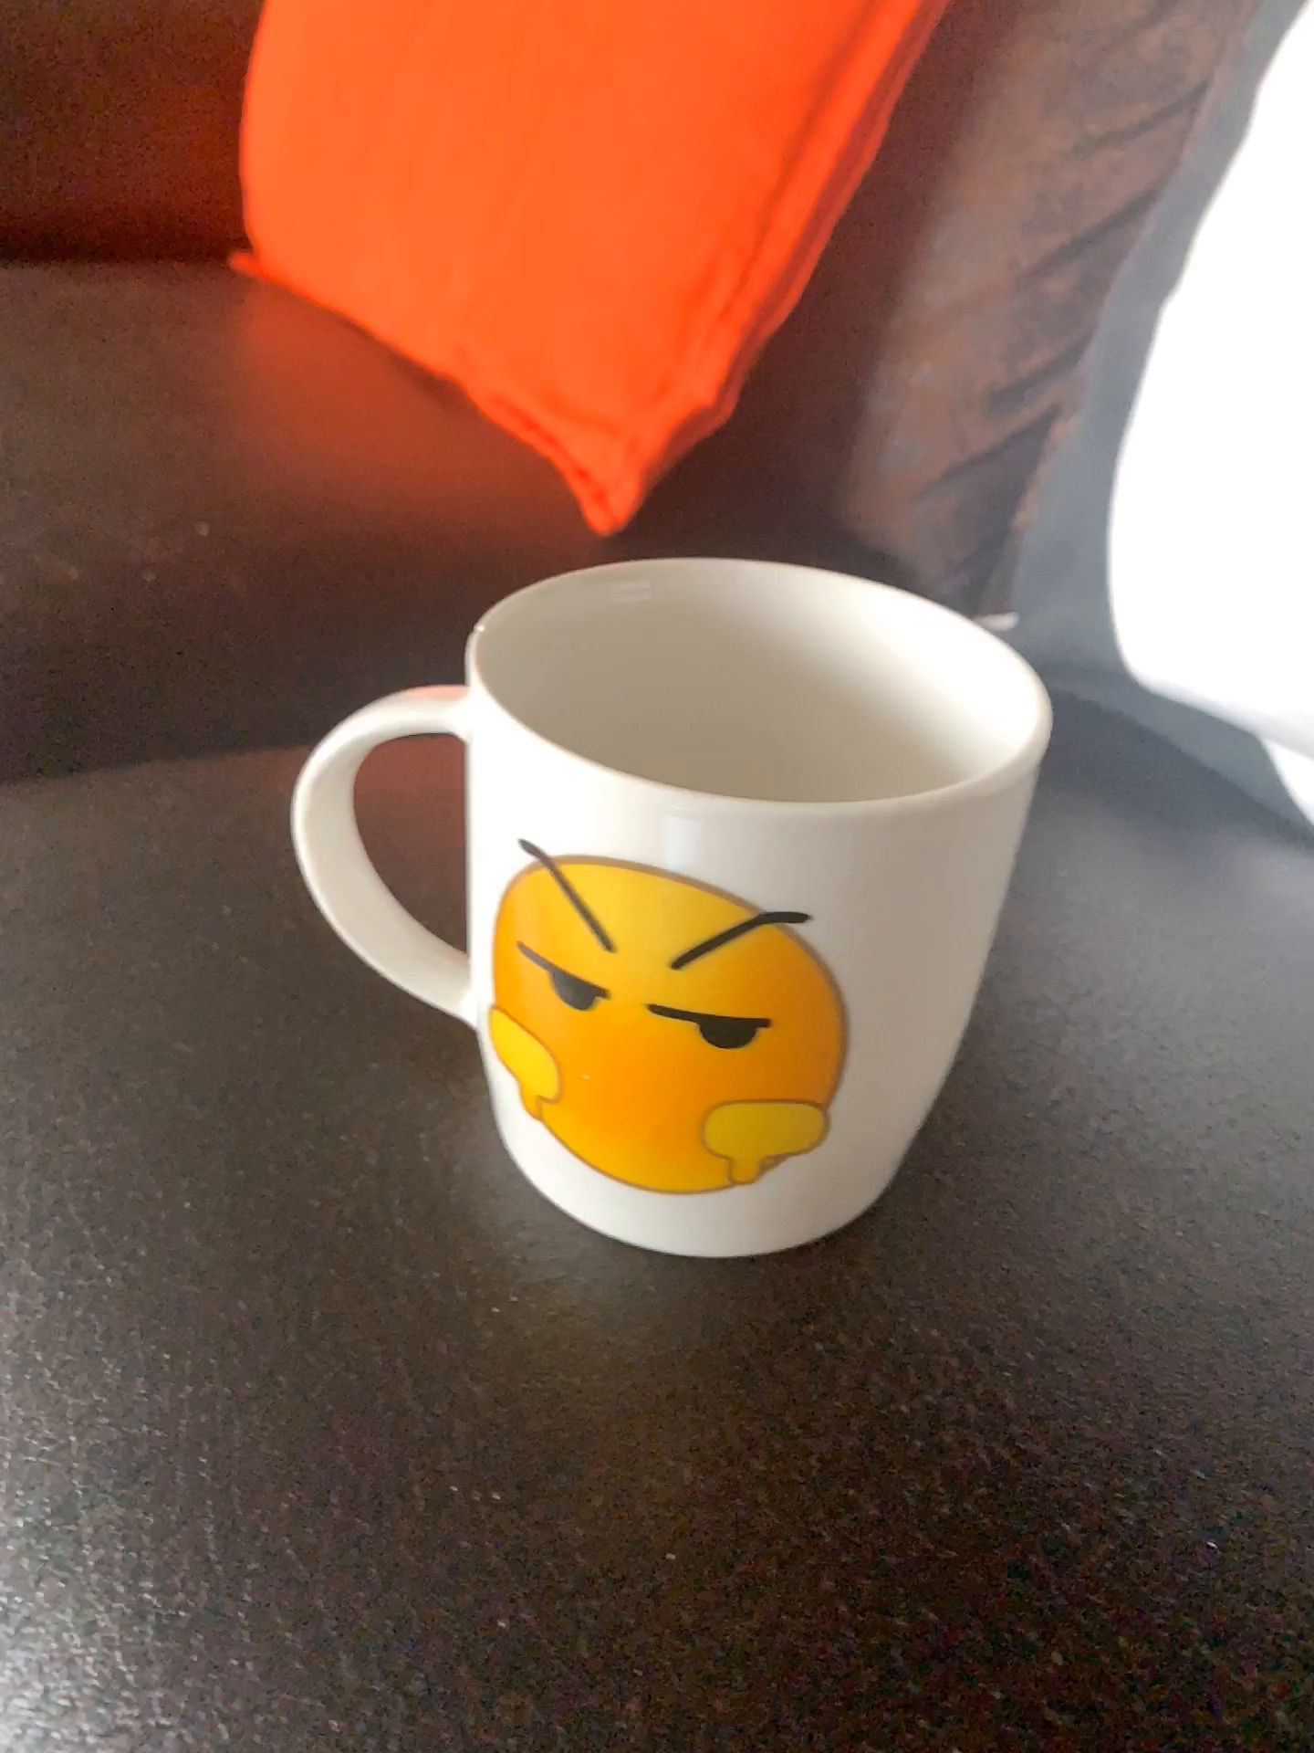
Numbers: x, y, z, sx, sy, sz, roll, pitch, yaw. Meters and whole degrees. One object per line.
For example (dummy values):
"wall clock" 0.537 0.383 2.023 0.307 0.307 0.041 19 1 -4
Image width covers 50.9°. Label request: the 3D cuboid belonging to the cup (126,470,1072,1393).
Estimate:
"cup" -0.007 0.003 0.232 0.120 0.099 0.081 15 34 13
